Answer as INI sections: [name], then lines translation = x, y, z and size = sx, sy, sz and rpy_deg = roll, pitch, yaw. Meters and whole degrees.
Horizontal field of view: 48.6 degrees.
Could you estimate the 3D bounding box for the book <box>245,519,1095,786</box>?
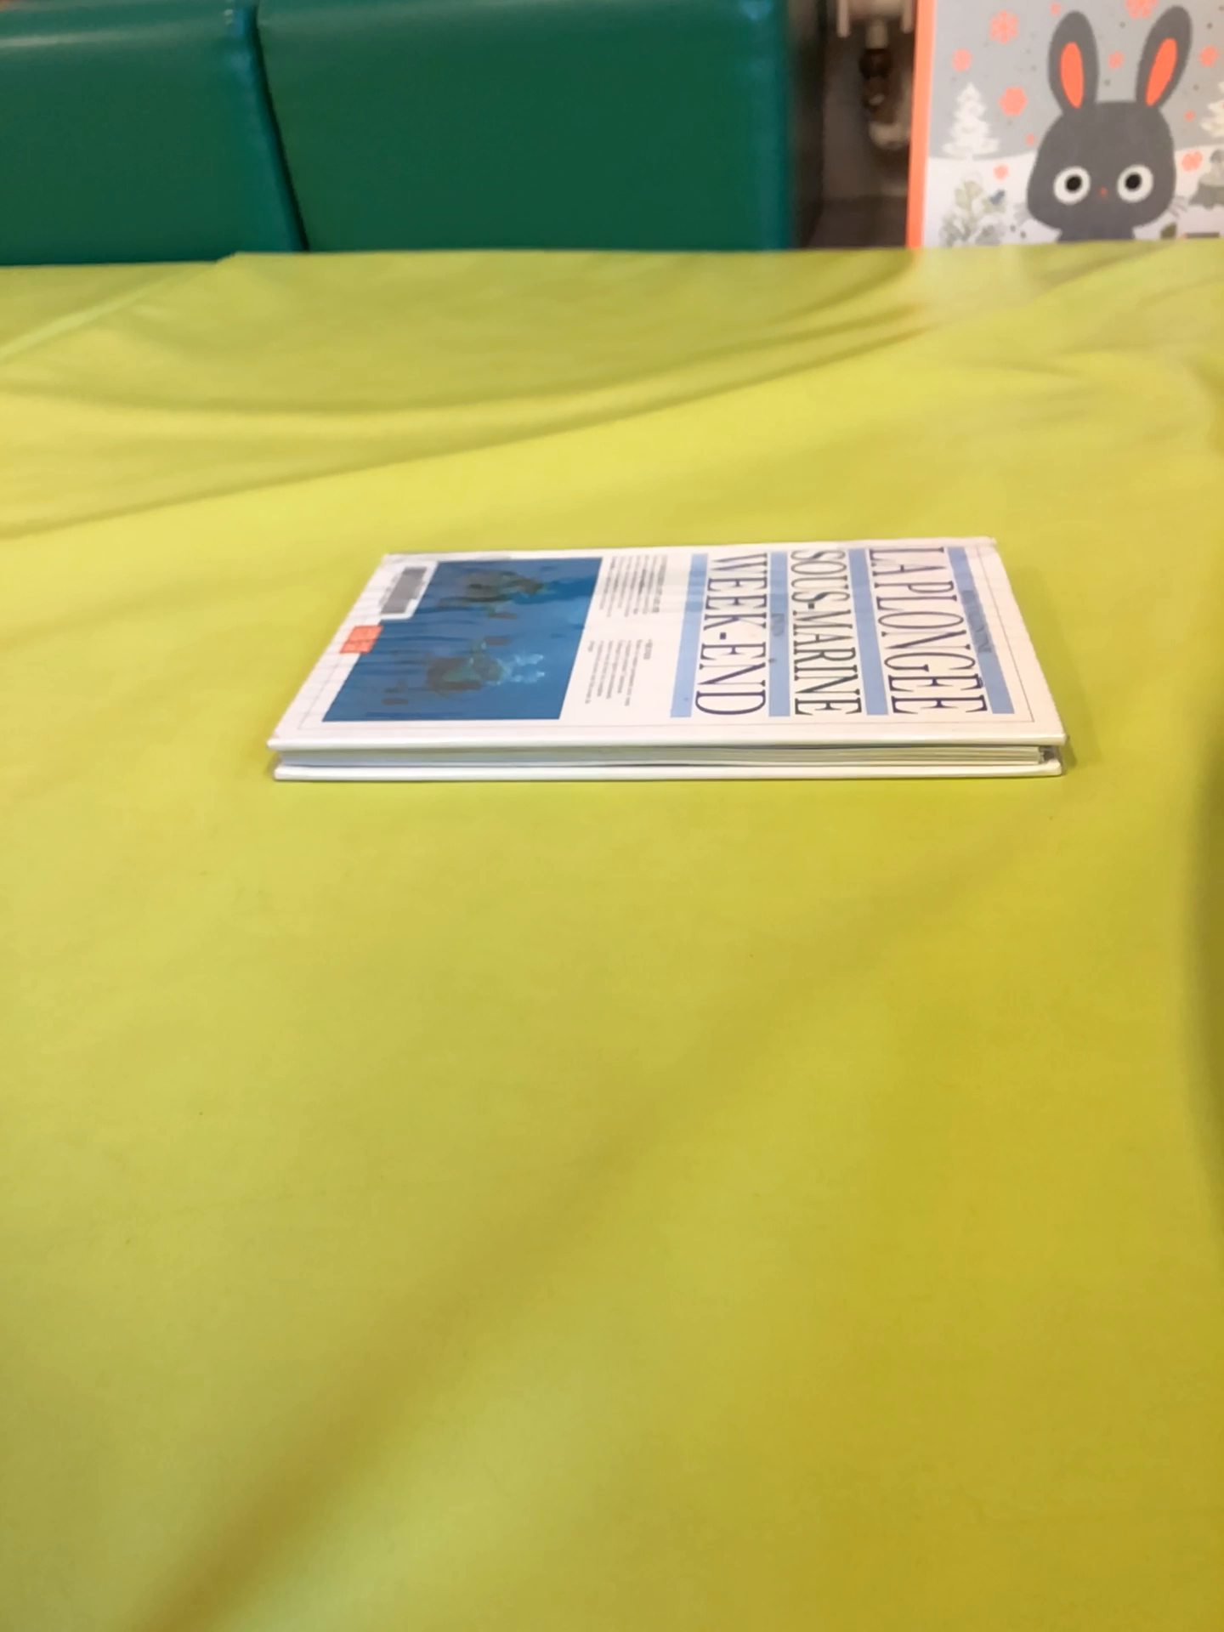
[book]
translation = 0.020, -0.058, 0.441
size = 0.234, 0.020, 0.151
rpy_deg = 0, 32, 7
